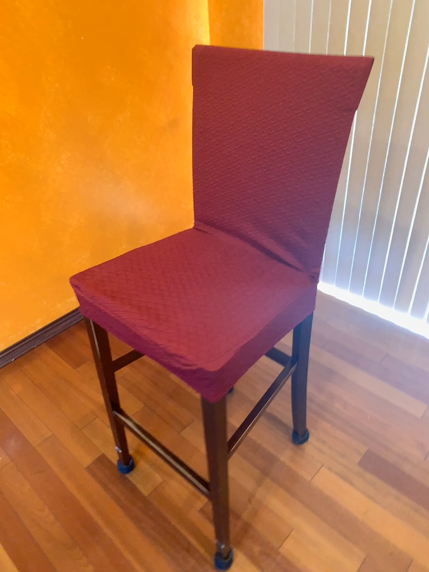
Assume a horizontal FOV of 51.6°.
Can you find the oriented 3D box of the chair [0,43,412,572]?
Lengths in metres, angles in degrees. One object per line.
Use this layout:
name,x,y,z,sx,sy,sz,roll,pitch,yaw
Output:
chair,0.005,0.068,1.010,0.472,1.026,0.505,25,44,35
